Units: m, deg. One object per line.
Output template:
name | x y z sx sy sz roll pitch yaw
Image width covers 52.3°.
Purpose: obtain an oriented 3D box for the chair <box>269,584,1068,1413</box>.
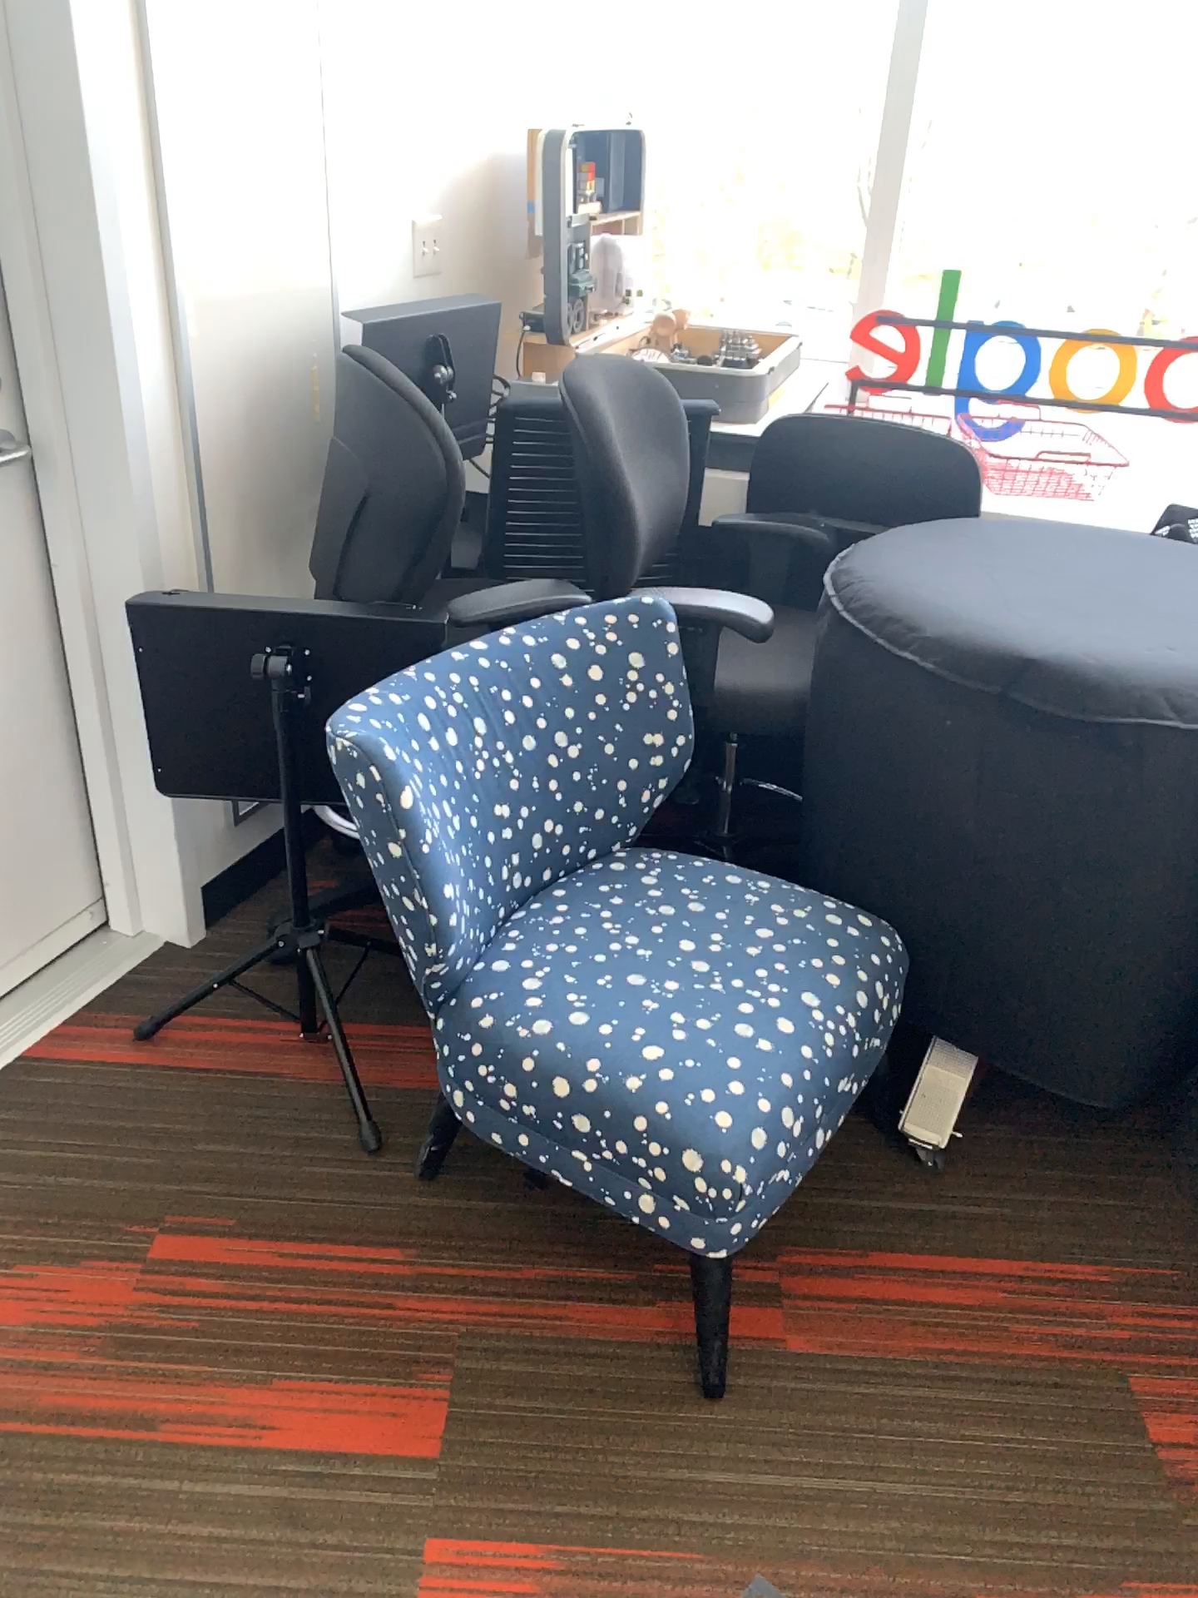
chair | 0.140 0.186 1.971 0.772 0.686 1.003 21 33 29
